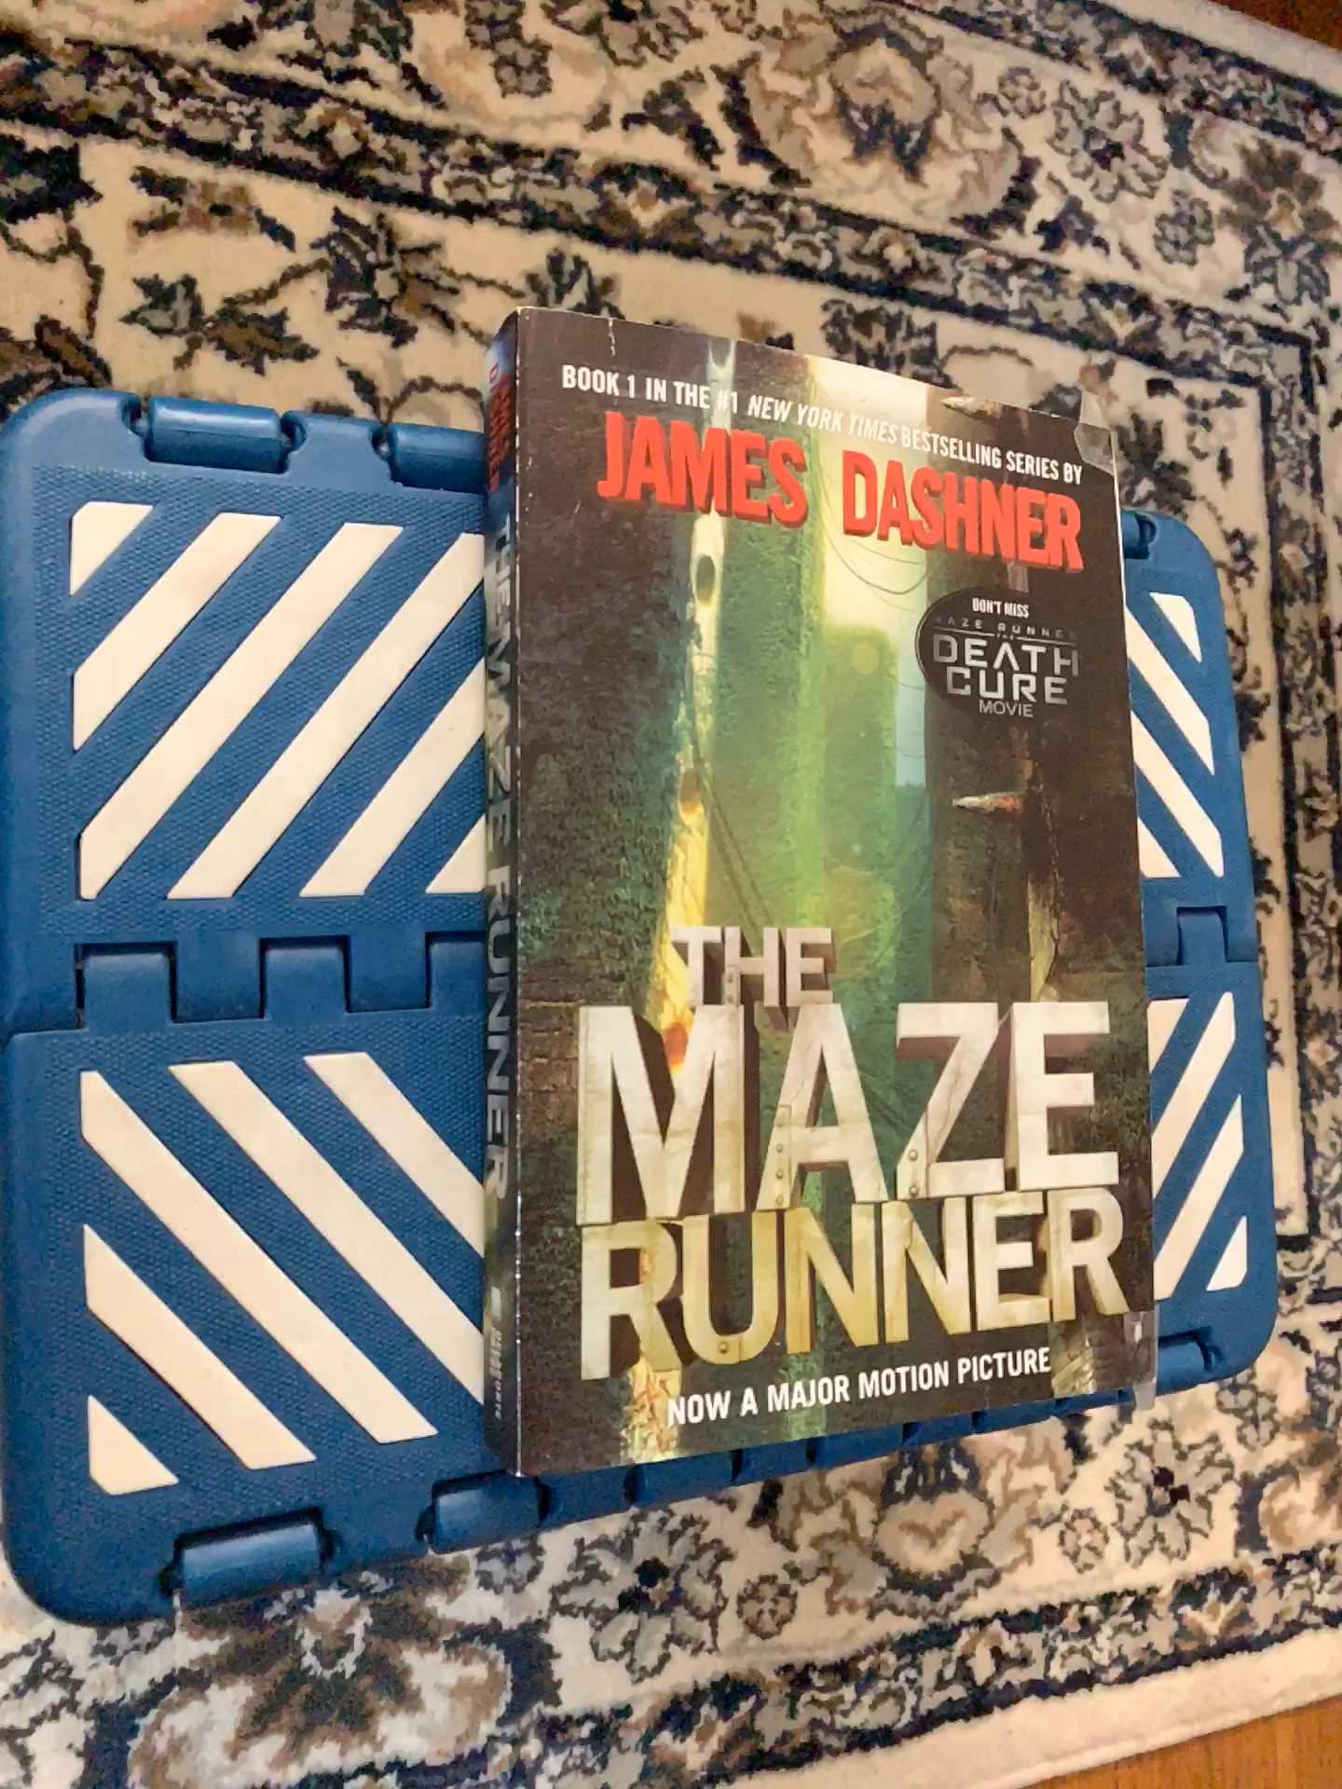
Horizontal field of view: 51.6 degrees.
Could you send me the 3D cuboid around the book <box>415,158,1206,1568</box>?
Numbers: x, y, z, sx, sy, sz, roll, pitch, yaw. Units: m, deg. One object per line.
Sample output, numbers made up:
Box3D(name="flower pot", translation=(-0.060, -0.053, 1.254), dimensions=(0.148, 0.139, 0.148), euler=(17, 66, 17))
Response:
Box3D(name="book", translation=(0.030, -0.008, 0.269), dimensions=(0.150, 0.030, 0.230), euler=(2, 83, -24))
